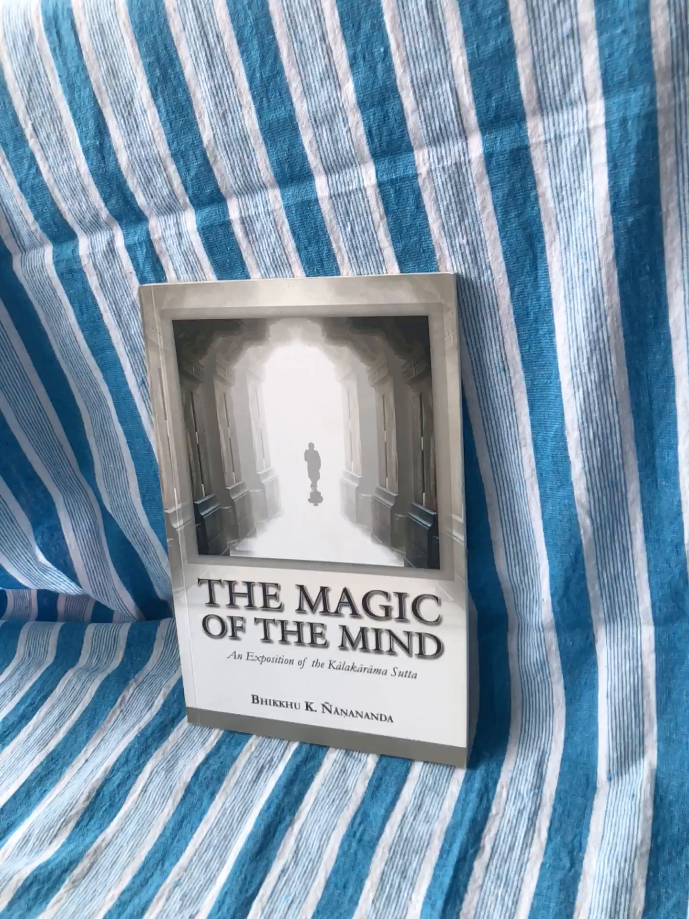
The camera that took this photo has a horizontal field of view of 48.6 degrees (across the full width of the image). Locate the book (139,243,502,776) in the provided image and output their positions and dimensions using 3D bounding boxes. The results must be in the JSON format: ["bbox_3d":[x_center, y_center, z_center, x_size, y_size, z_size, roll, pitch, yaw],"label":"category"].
[{"bbox_3d":[-0.010,0.024,0.329,0.150,0.219,0.010,2,14,18],"label":"book"}]
